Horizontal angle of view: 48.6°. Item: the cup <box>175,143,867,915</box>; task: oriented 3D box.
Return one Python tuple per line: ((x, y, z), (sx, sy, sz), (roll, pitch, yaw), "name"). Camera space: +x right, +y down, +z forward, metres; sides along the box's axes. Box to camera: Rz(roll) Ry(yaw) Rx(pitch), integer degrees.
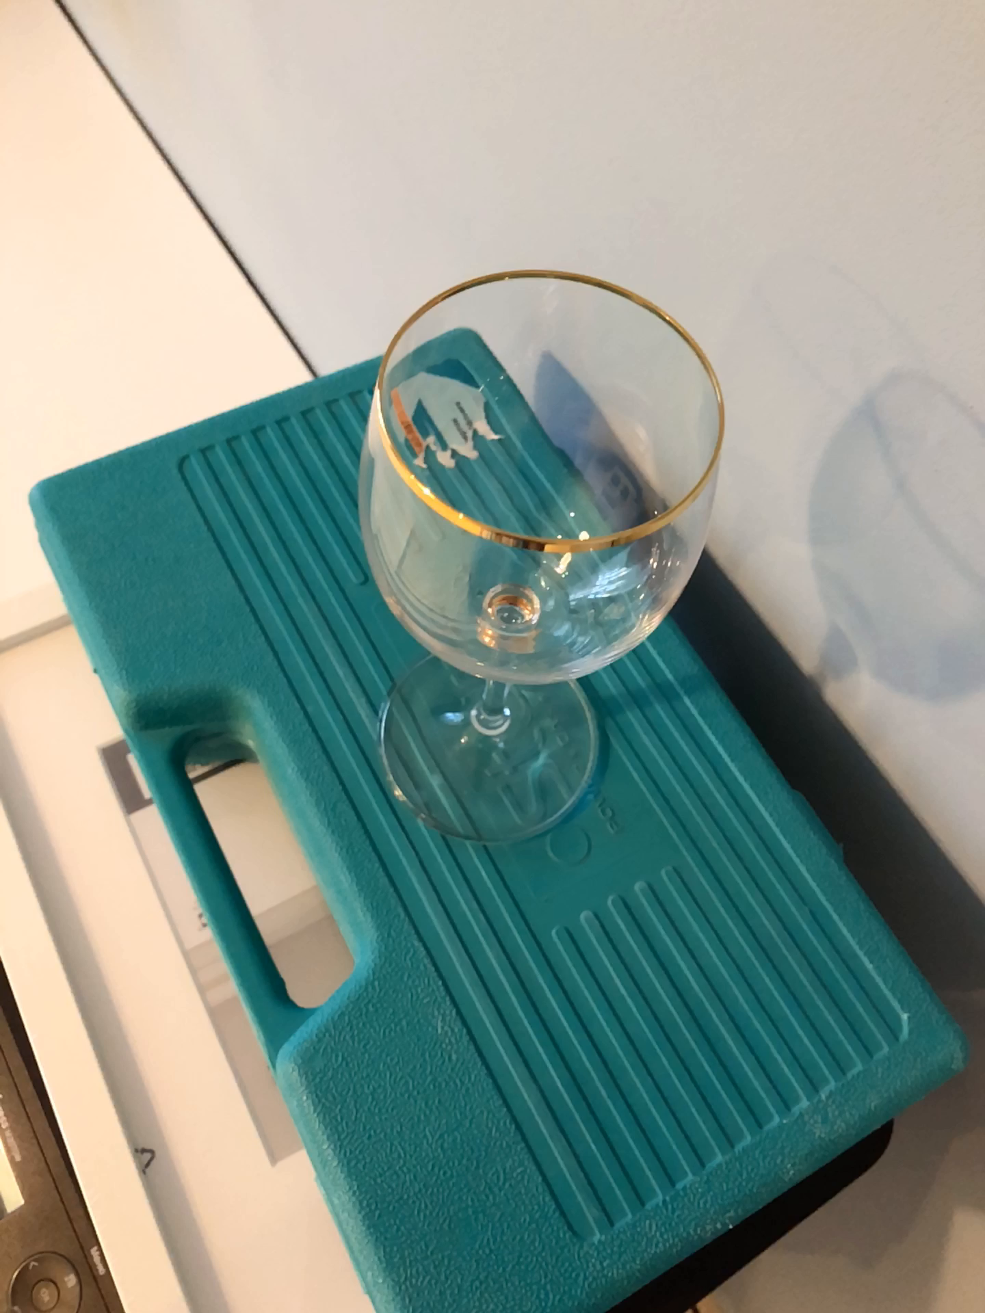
((-0.001, -0.020, 0.283), (0.100, 0.159, 0.100), (2, 63, -3), "cup")
